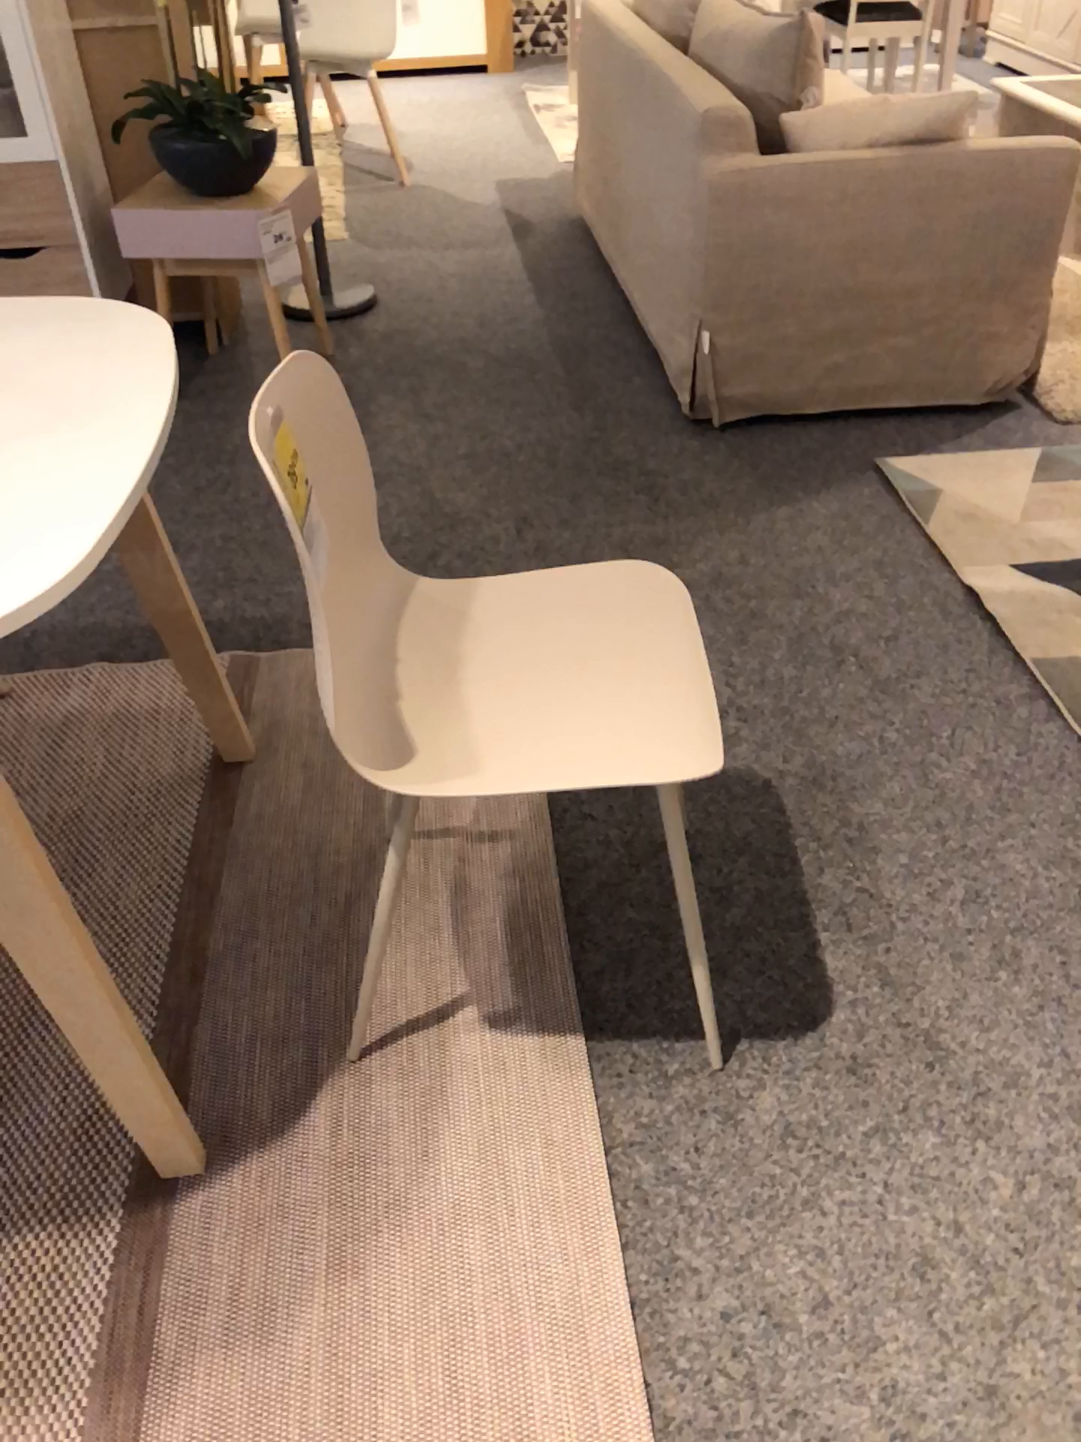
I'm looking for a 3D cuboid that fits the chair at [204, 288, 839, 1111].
[{"bbox_3d":[-0.019,-0.017,1.360,0.500,0.766,0.503,-4,37,-2],"label":"chair"}]
